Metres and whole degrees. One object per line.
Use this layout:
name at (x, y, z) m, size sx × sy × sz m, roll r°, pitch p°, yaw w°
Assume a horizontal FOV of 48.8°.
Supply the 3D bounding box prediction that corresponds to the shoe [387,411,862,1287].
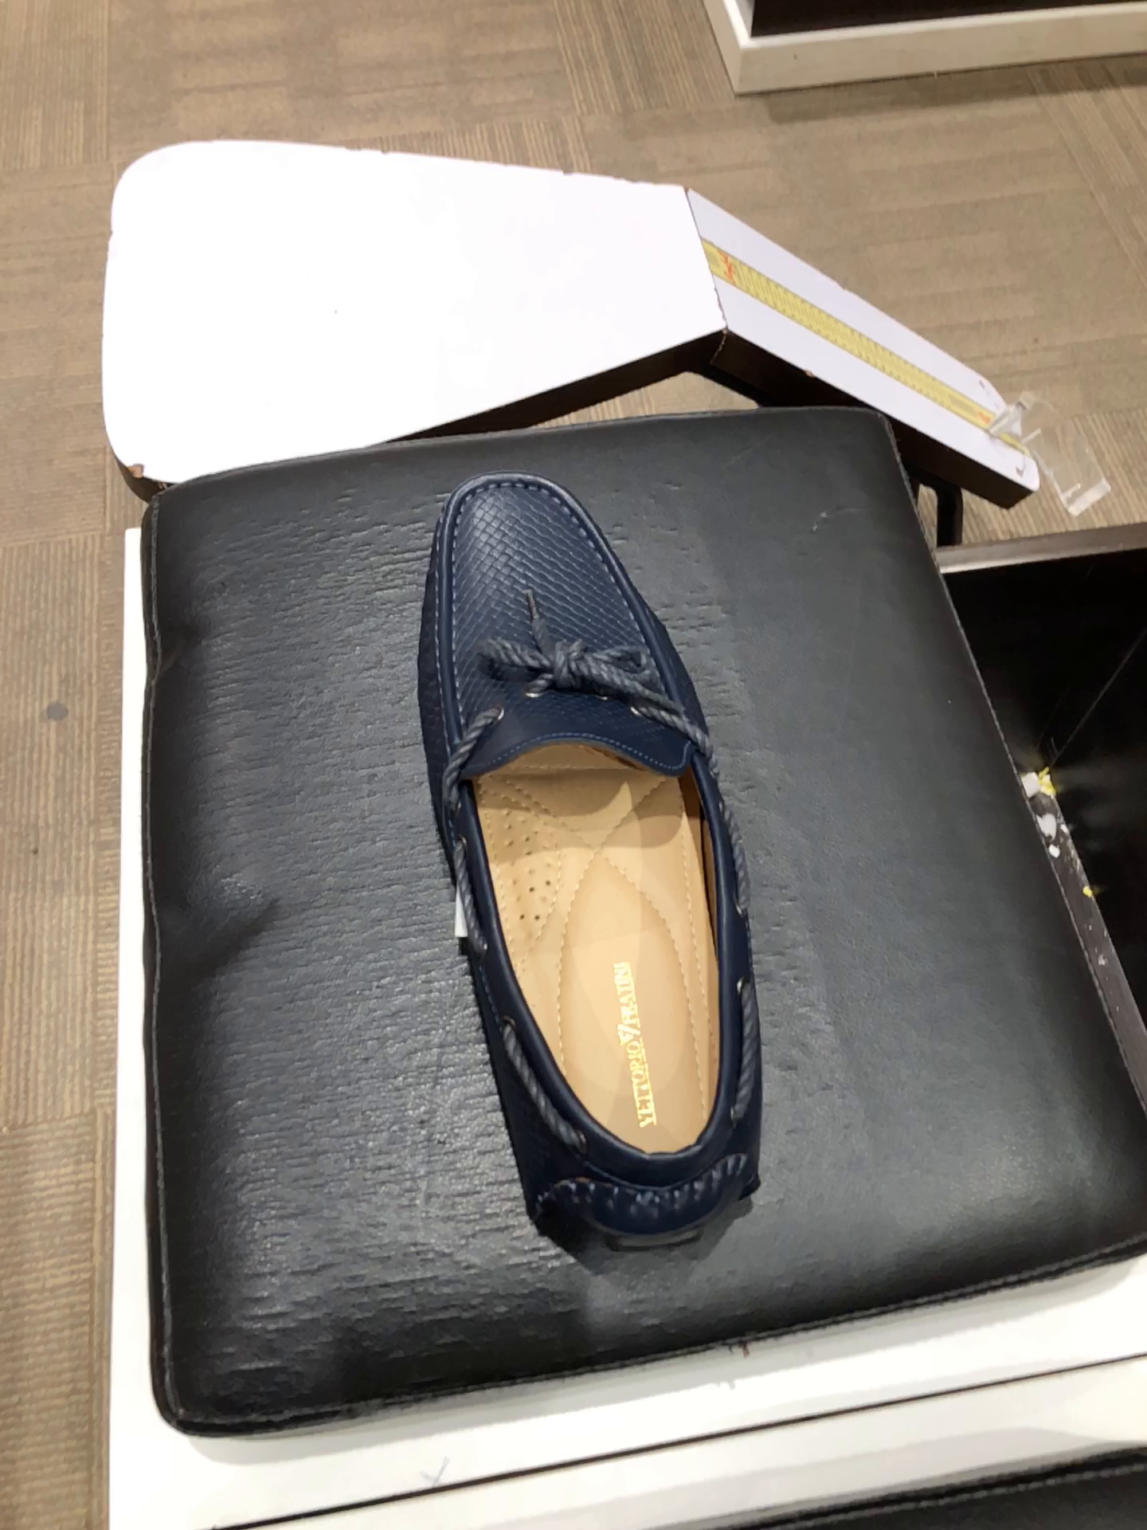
shoe at (0.004, 0.017, 0.420) m, size 0.100 × 0.080 × 0.271 m, roll -8°, pitch 62°, yaw -4°
